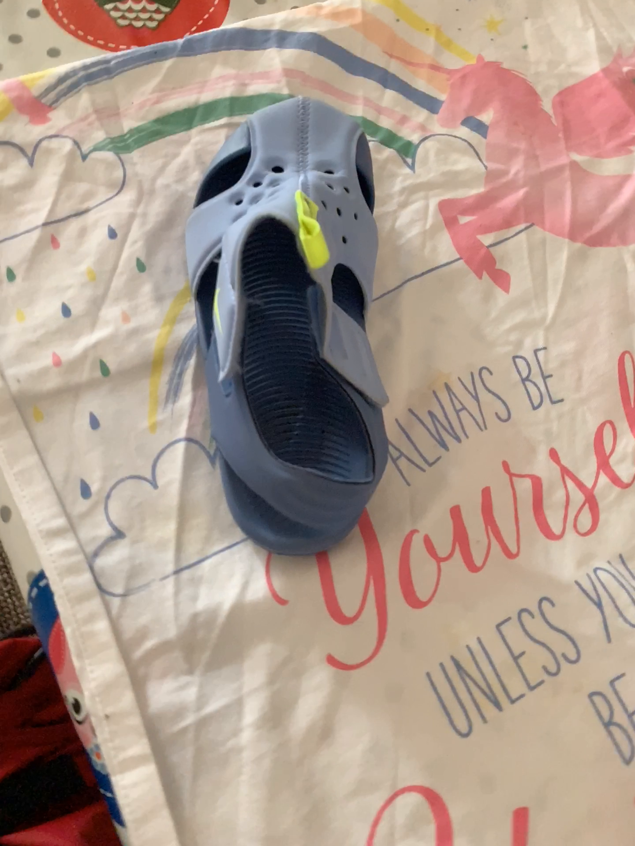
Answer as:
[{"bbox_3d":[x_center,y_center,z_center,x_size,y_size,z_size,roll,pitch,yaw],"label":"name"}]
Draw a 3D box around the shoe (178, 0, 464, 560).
[{"bbox_3d":[-0.007,-0.059,0.273,0.086,0.090,0.216,0,71,-7],"label":"shoe"}]
